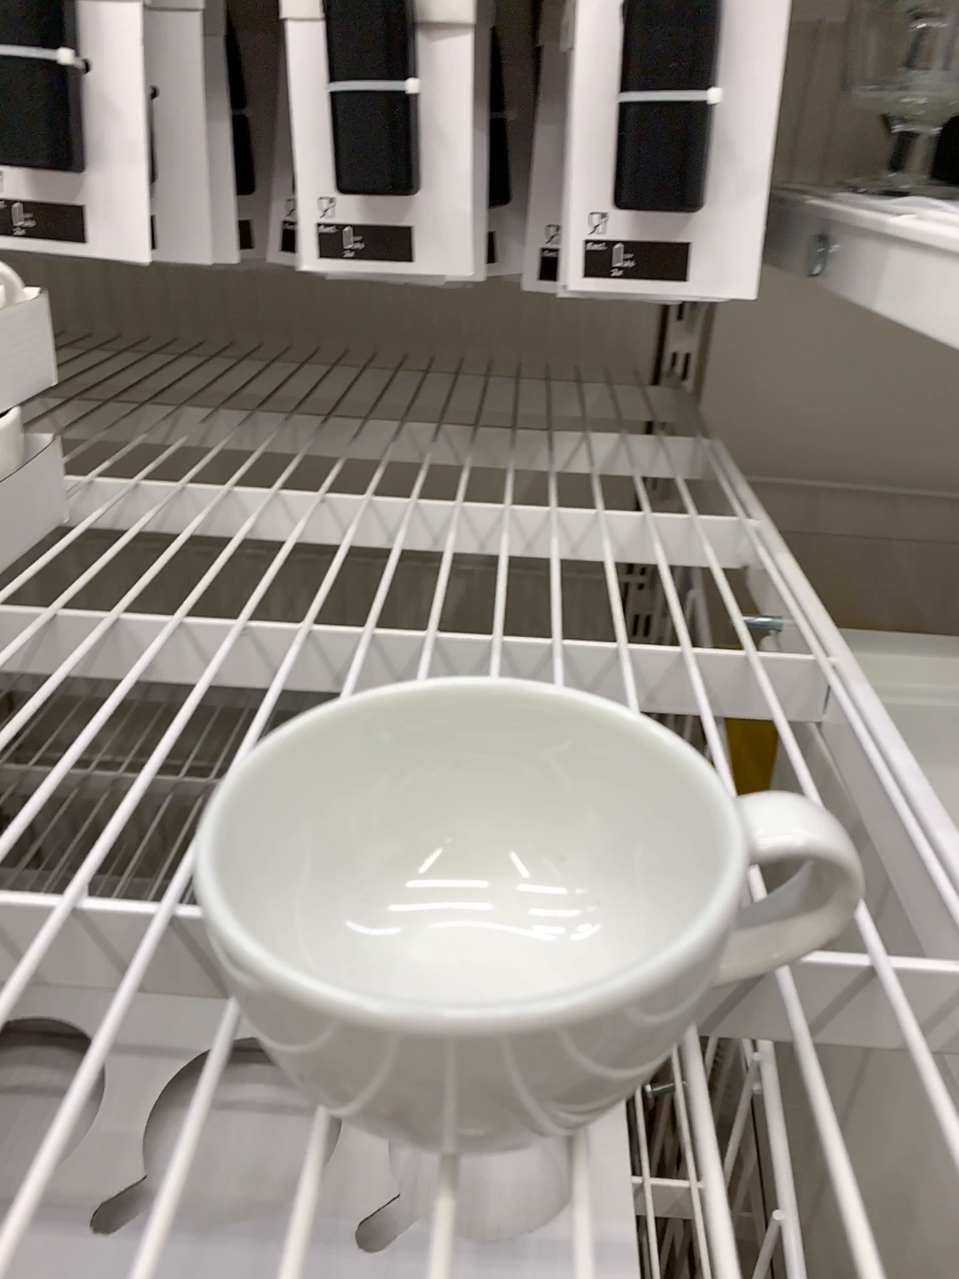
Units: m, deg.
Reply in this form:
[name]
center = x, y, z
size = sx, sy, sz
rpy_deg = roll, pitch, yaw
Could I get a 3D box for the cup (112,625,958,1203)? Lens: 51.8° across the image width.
[cup]
center = 0.012, 0.036, 0.168
size = 0.116, 0.036, 0.097
rpy_deg = 1, 27, -5
